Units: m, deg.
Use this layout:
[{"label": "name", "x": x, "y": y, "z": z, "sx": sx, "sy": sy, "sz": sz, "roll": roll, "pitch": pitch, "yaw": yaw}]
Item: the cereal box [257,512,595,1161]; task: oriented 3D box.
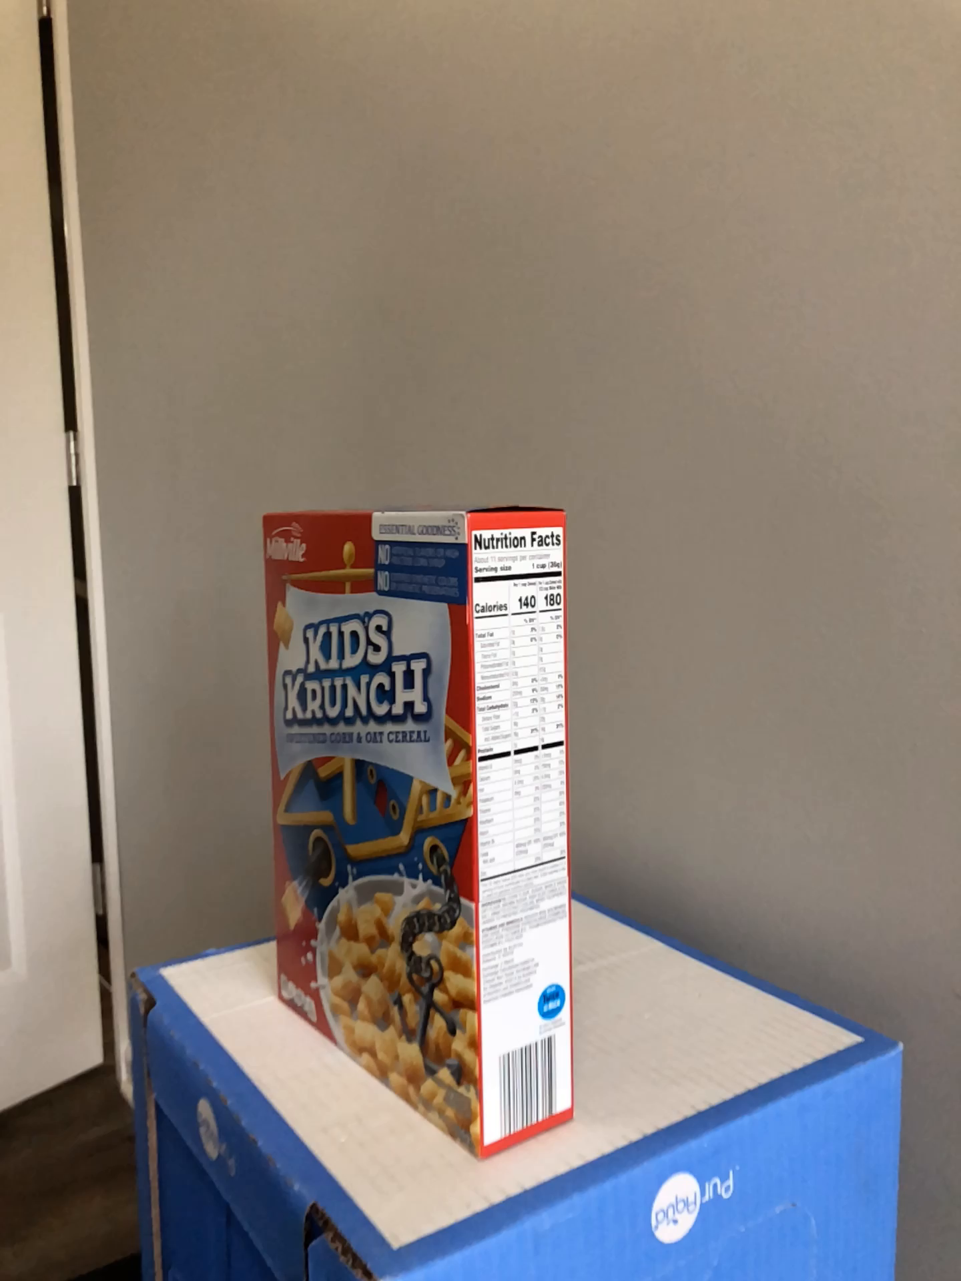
[{"label": "cereal box", "x": -0.036, "y": 0.073, "z": 0.532, "sx": 0.060, "sy": 0.270, "sz": 0.210, "roll": -5, "pitch": 7, "yaw": -35}]
